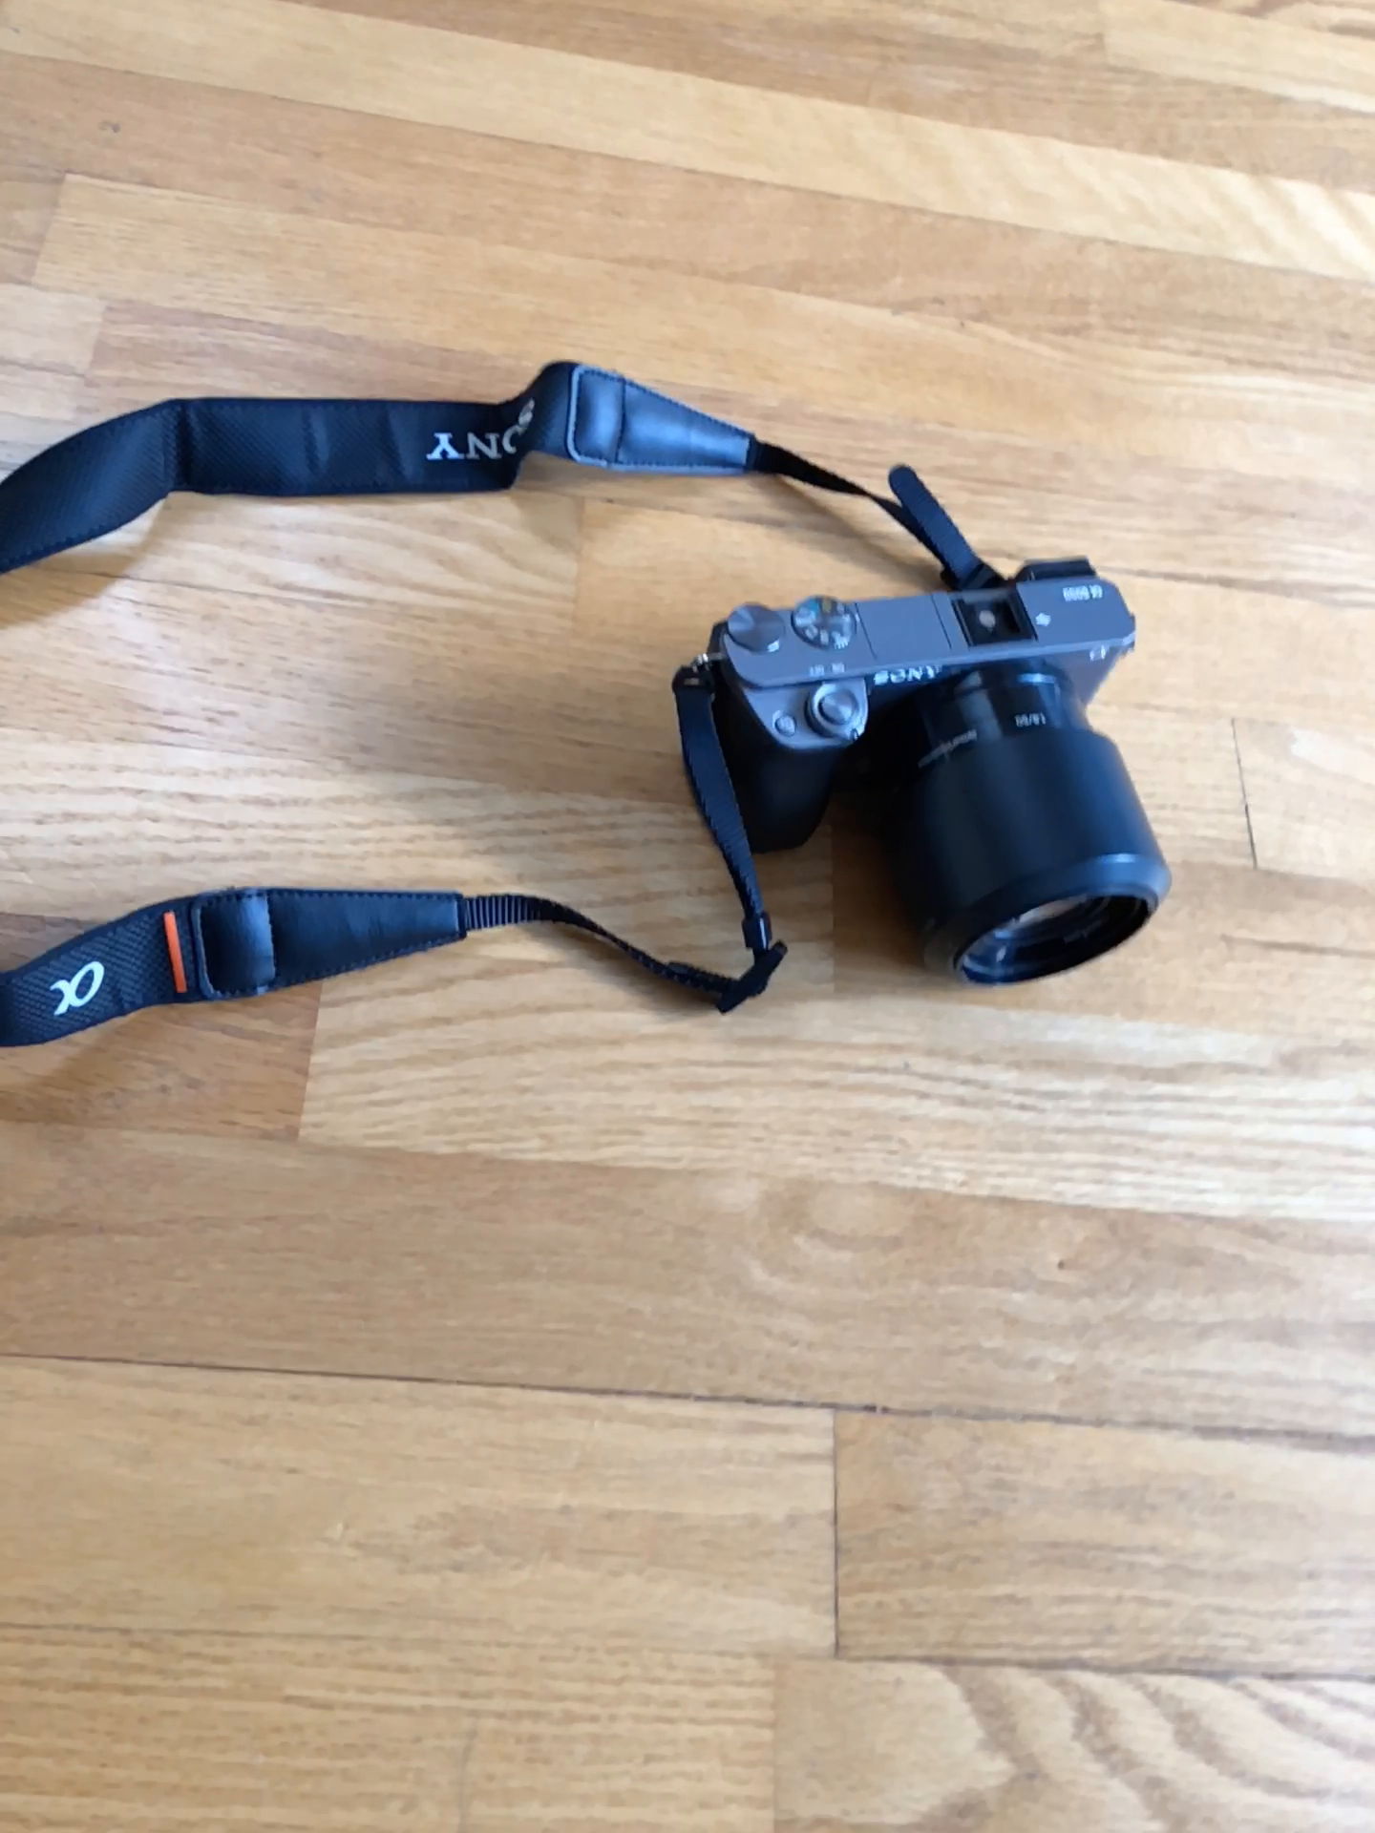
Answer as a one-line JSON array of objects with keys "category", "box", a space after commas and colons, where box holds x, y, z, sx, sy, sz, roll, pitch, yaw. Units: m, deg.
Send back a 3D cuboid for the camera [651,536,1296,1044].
[{"category": "camera", "box": [0.074, -0.038, 0.427, 0.140, 0.060, 0.110, -9, 66, -15]}]
